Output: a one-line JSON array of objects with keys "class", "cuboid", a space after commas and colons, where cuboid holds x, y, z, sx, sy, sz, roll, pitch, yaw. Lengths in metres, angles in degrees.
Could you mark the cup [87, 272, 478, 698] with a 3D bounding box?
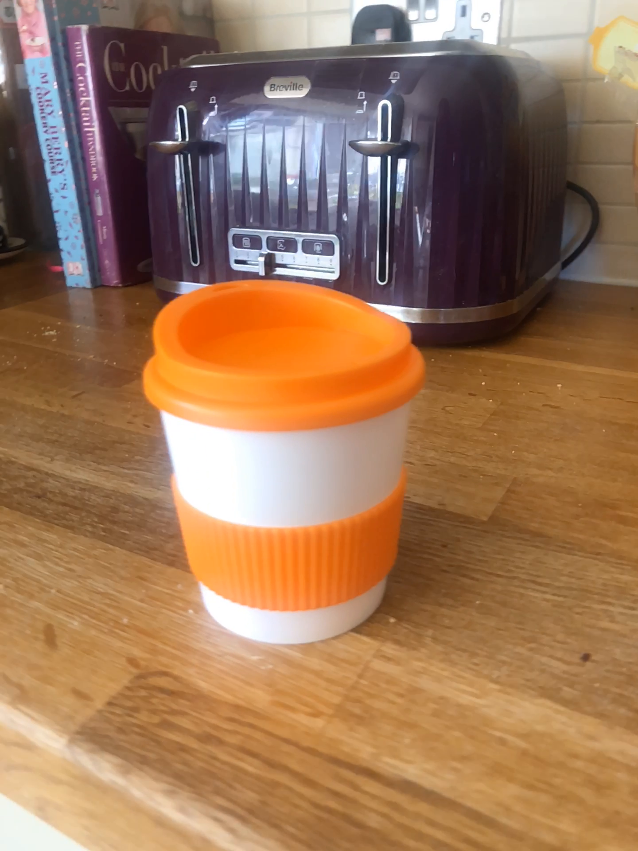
[{"class": "cup", "cuboid": [-0.013, 0.008, 0.227, 0.081, 0.089, 0.089, -1, 23, 0]}]
